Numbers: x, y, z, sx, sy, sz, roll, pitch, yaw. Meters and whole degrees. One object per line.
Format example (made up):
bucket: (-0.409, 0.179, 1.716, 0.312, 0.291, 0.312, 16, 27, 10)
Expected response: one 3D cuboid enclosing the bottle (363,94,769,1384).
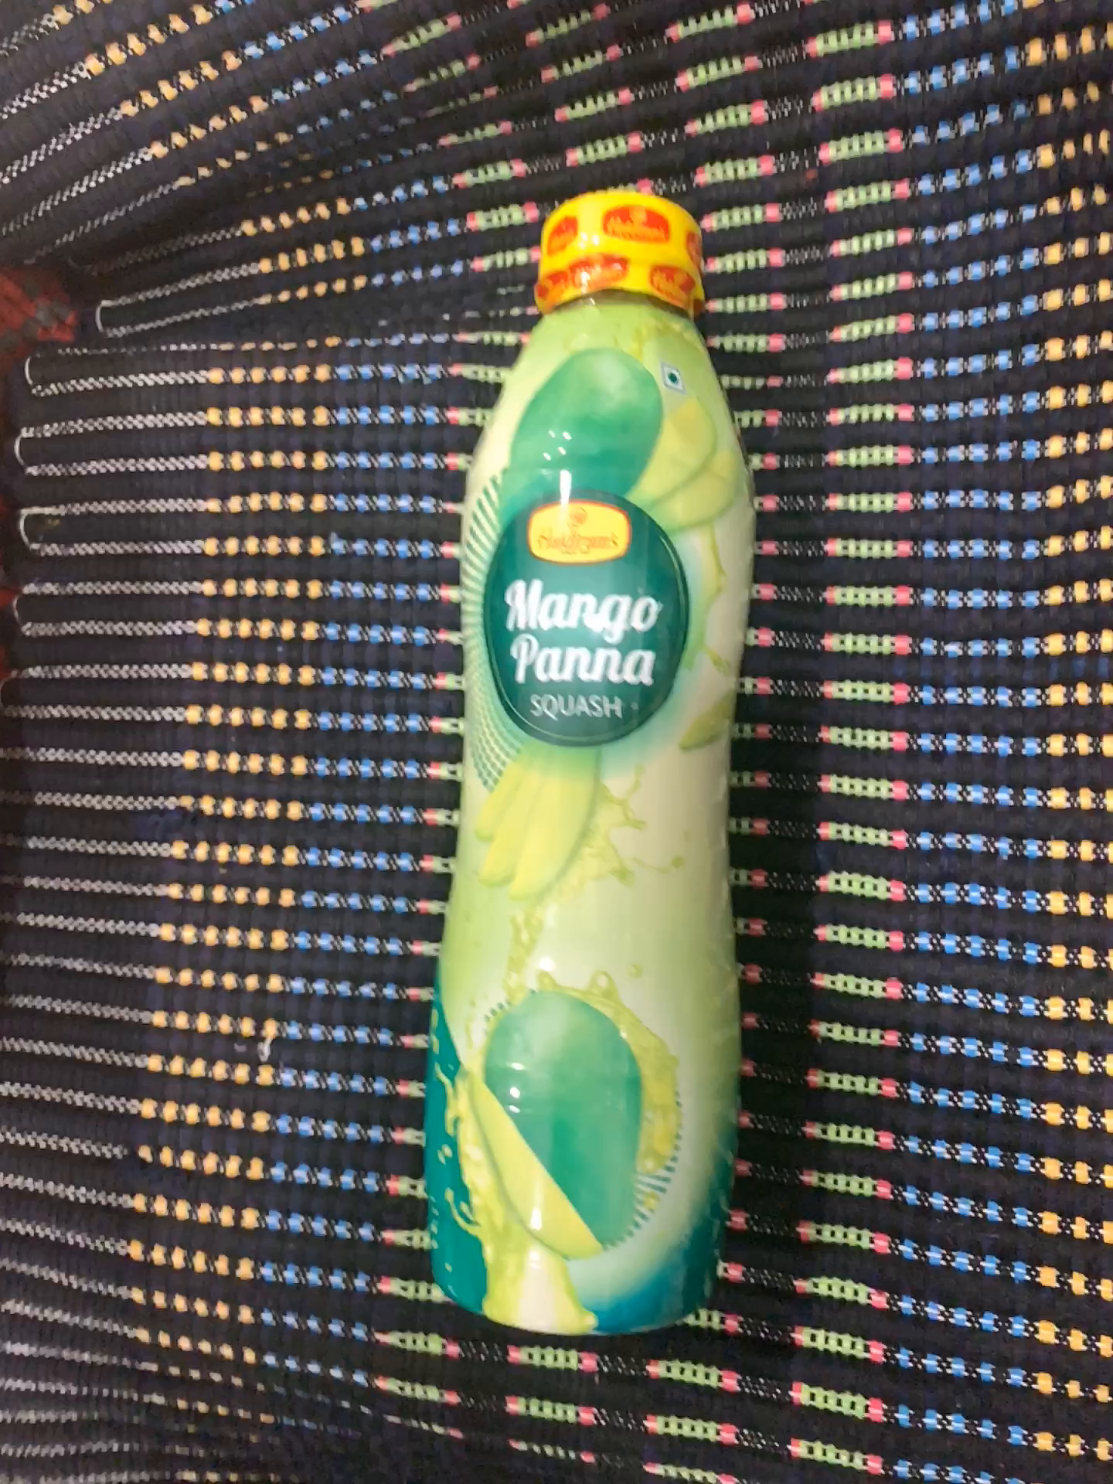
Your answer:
bottle: (0.008, -0.009, 0.269, 0.070, 0.050, 0.270, 2, 82, 9)
